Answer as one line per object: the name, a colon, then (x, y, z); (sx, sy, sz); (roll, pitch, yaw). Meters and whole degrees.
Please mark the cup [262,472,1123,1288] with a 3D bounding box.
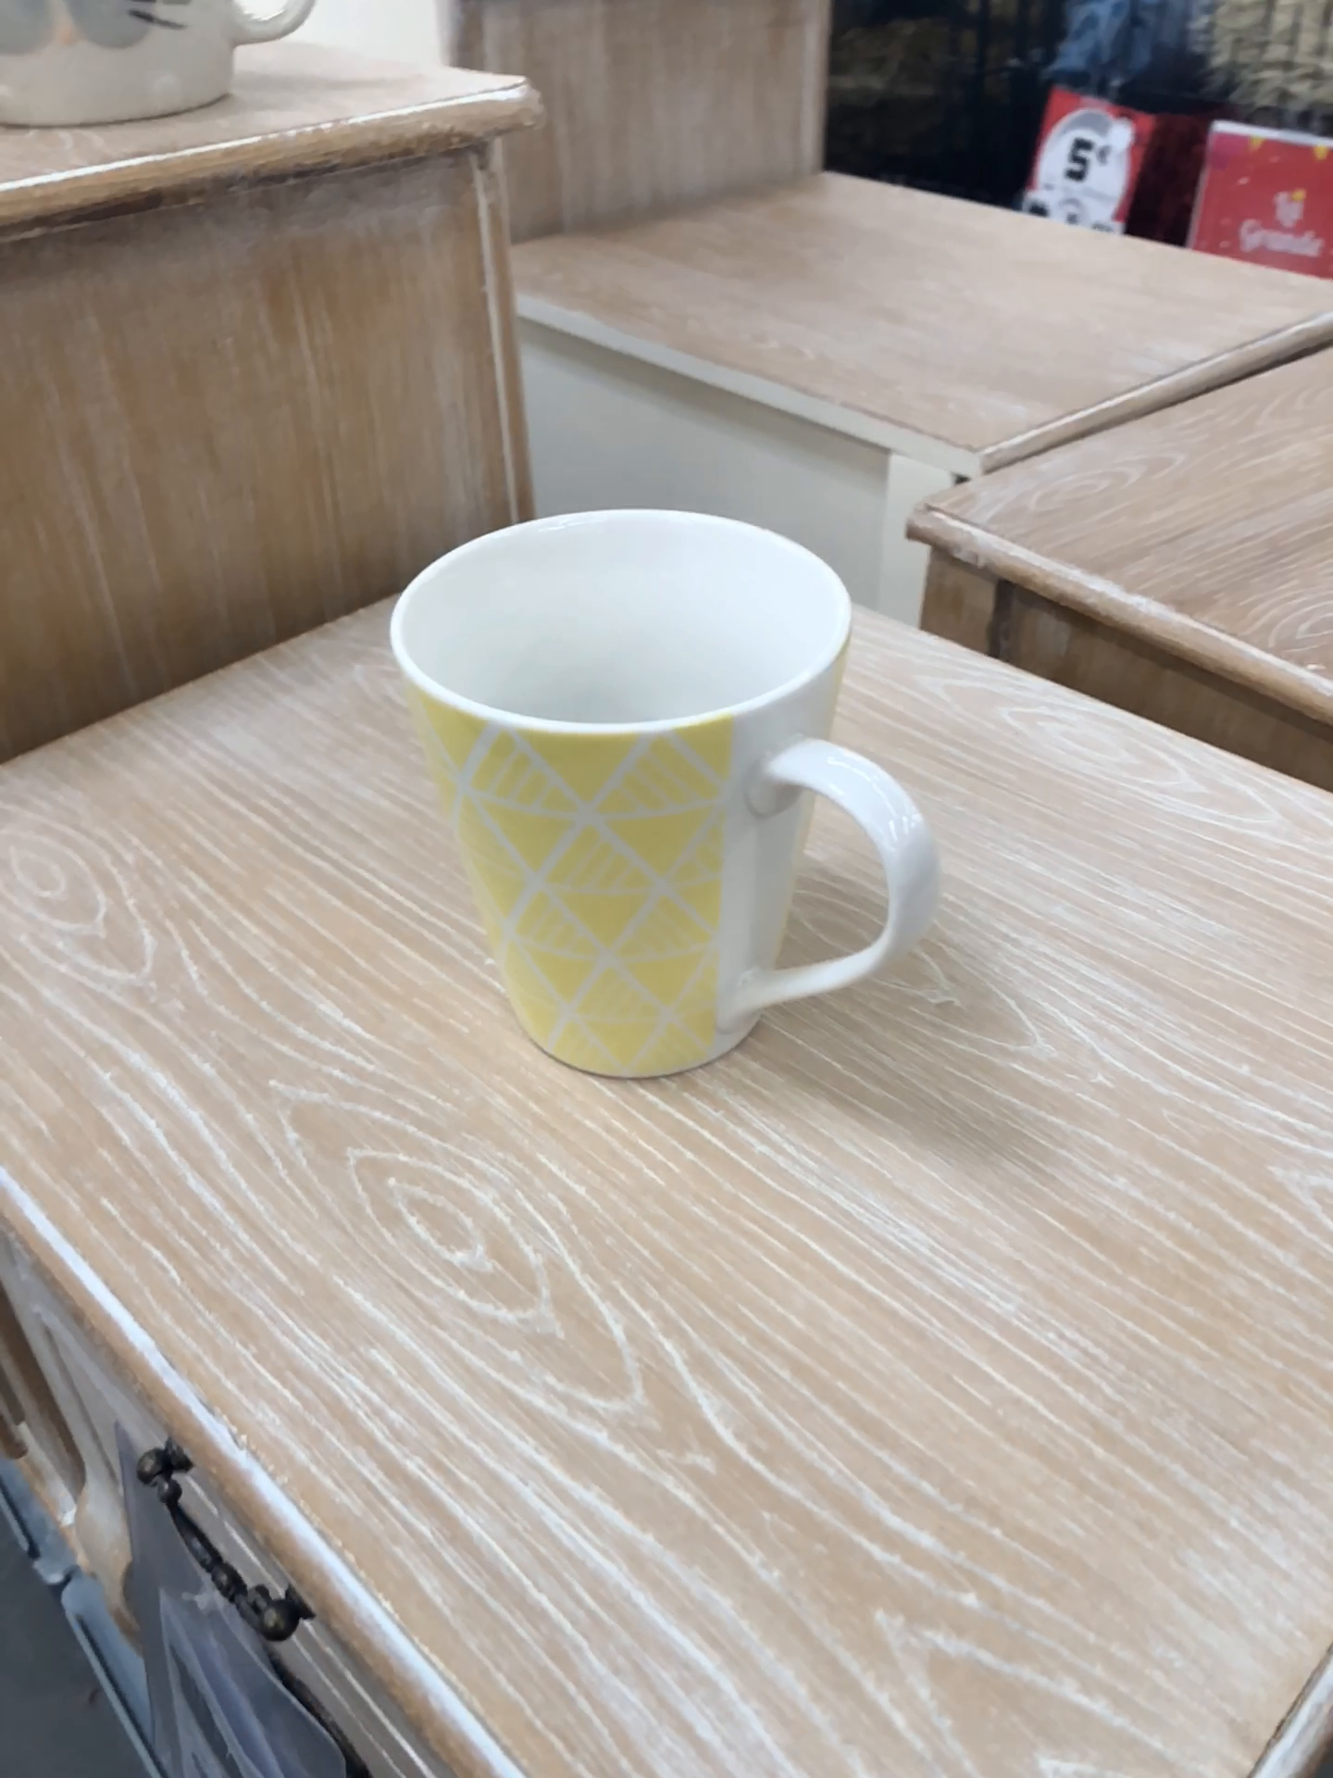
cup: (0.005, -0.012, 0.303); (0.125, 0.090, 0.103); (28, 46, 33)
